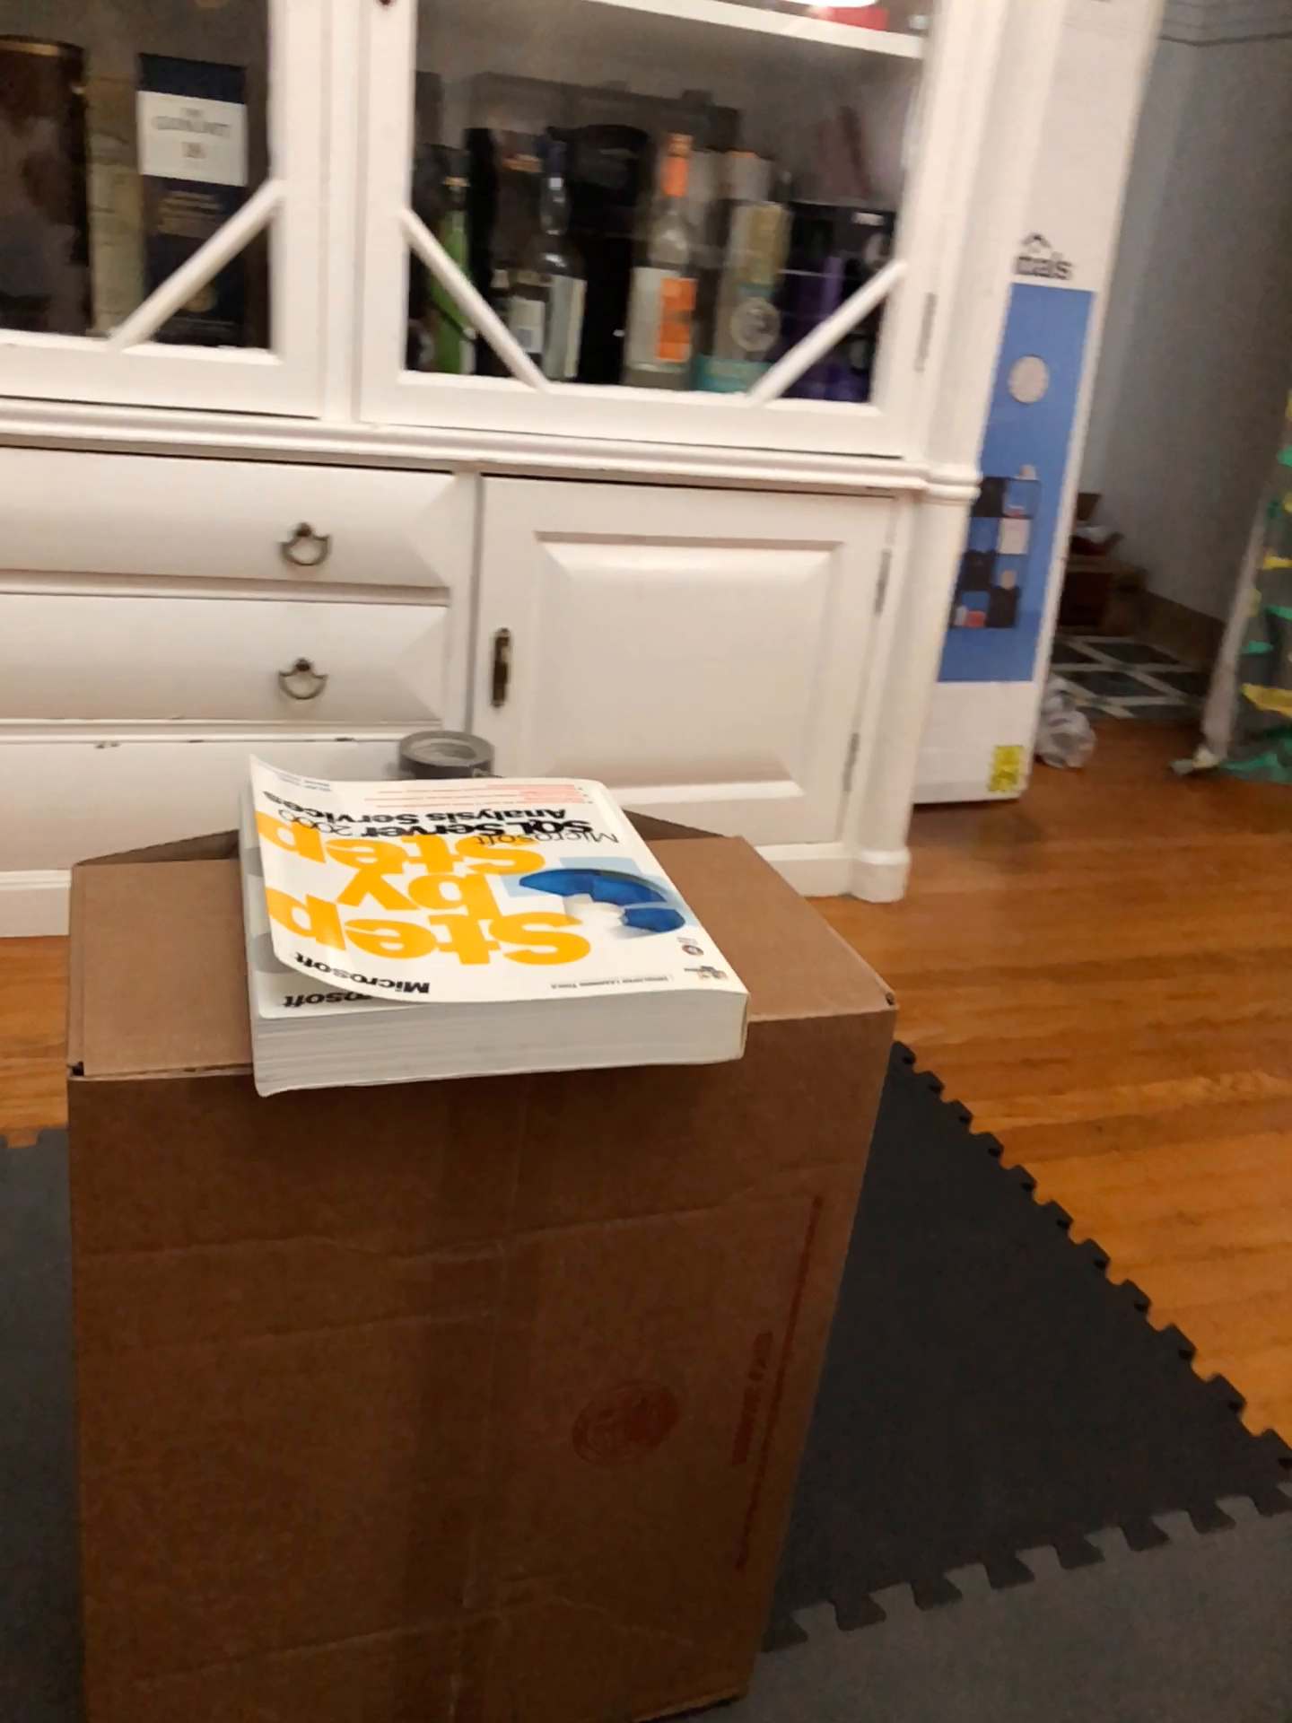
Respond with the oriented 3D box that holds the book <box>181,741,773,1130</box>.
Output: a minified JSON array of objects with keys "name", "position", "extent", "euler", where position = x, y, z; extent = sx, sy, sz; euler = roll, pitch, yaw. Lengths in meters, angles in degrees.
[{"name":"book","position":[-0.088,0.015,0.620],"extent":[0.200,0.050,0.241],"euler":[-6,24,-20]}]
